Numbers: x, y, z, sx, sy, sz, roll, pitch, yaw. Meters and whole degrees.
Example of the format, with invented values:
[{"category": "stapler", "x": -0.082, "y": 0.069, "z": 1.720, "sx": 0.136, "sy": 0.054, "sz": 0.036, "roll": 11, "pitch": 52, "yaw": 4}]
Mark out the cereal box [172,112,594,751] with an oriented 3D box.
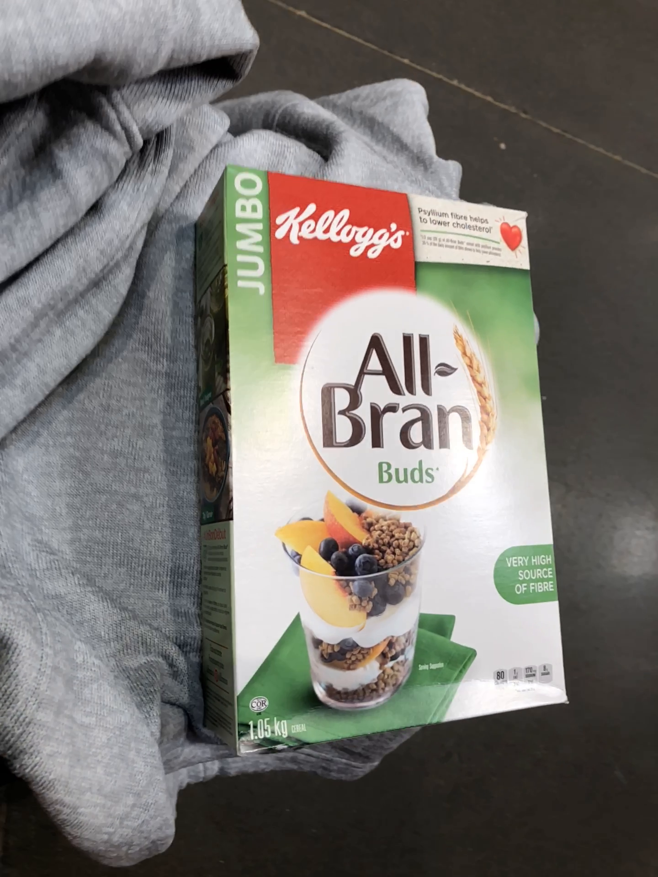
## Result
[{"category": "cereal box", "x": 0.025, "y": -0.008, "z": 0.406, "sx": 0.201, "sy": 0.070, "sz": 0.300, "roll": -1, "pitch": 81, "yaw": -21}]
